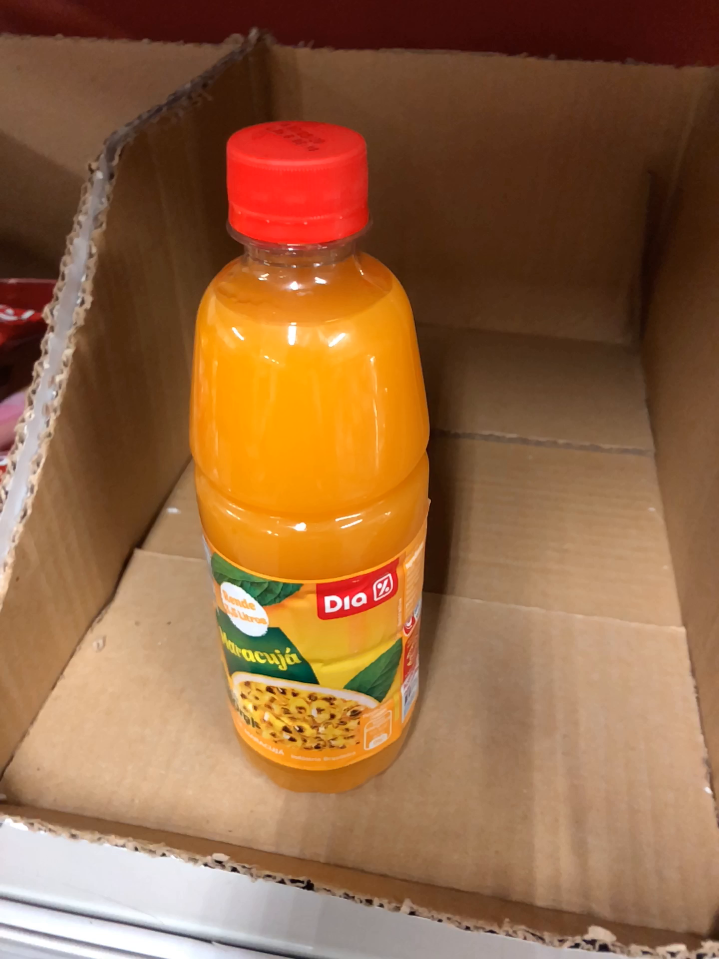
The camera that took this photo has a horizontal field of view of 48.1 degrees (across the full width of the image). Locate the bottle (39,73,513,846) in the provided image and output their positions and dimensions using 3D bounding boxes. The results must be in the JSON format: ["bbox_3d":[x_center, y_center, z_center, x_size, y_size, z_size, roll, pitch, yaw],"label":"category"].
[{"bbox_3d":[-0.012,0.008,0.222,0.070,0.198,0.070,0,39,0],"label":"bottle"}]
